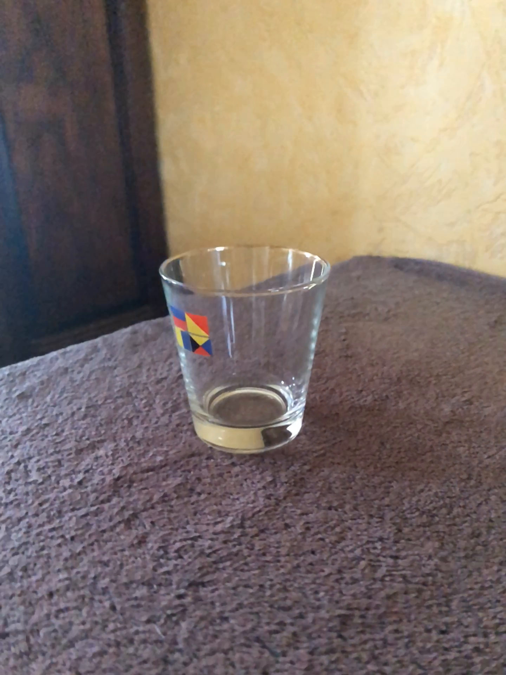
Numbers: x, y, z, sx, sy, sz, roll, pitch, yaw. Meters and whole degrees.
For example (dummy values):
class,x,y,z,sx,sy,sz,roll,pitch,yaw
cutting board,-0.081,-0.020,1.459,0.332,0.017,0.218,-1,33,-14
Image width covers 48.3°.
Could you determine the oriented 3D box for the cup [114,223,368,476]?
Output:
class,x,y,z,sx,sy,sz,roll,pitch,yaw
cup,-0.003,-0.003,0.264,0.080,0.080,0.080,-2,23,1
